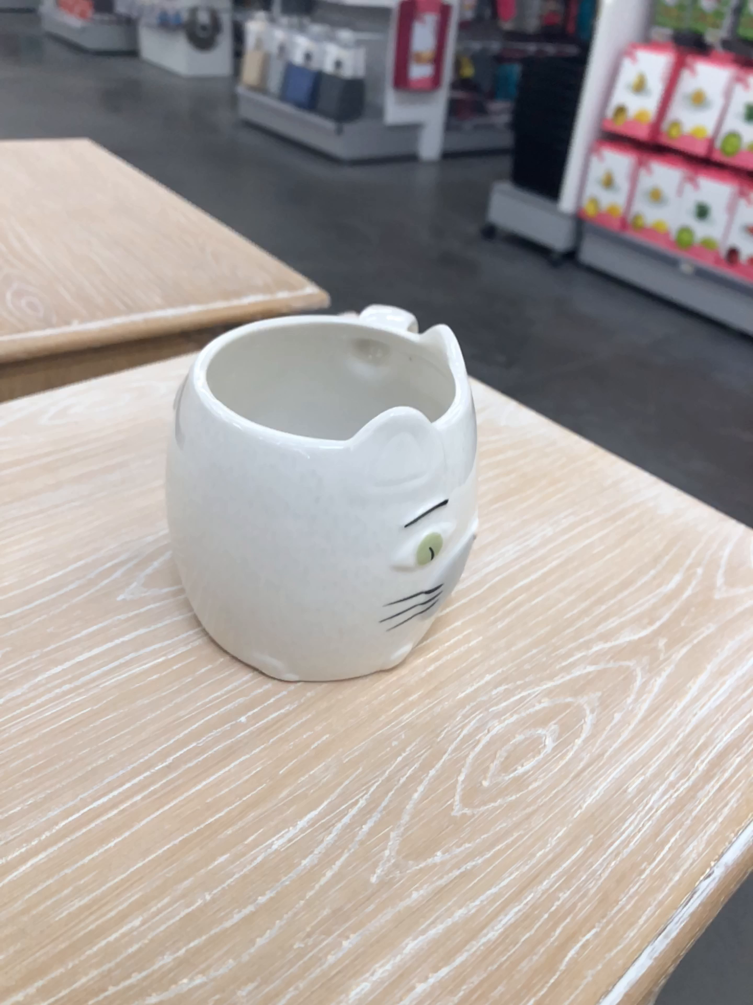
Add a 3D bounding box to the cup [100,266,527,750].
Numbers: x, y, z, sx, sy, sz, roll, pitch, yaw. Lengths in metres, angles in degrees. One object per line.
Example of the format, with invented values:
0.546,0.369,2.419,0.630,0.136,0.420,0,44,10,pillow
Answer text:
-0.013,-0.008,0.262,0.091,0.073,0.125,16,34,4,cup
